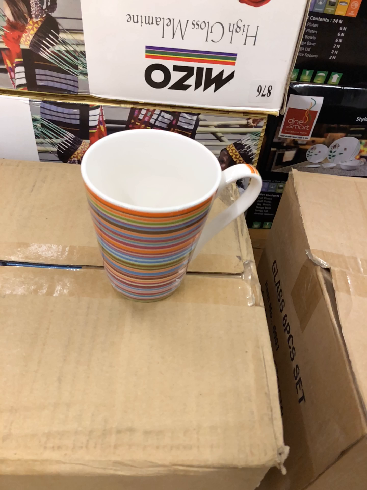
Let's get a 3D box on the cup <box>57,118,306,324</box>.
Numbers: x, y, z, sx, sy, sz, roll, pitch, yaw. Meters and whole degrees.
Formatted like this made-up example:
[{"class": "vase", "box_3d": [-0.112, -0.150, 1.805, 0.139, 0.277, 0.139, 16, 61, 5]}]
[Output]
[{"class": "cup", "box_3d": [-0.007, -0.020, 0.272, 0.130, 0.089, 0.080, -10, 47, -17]}]
